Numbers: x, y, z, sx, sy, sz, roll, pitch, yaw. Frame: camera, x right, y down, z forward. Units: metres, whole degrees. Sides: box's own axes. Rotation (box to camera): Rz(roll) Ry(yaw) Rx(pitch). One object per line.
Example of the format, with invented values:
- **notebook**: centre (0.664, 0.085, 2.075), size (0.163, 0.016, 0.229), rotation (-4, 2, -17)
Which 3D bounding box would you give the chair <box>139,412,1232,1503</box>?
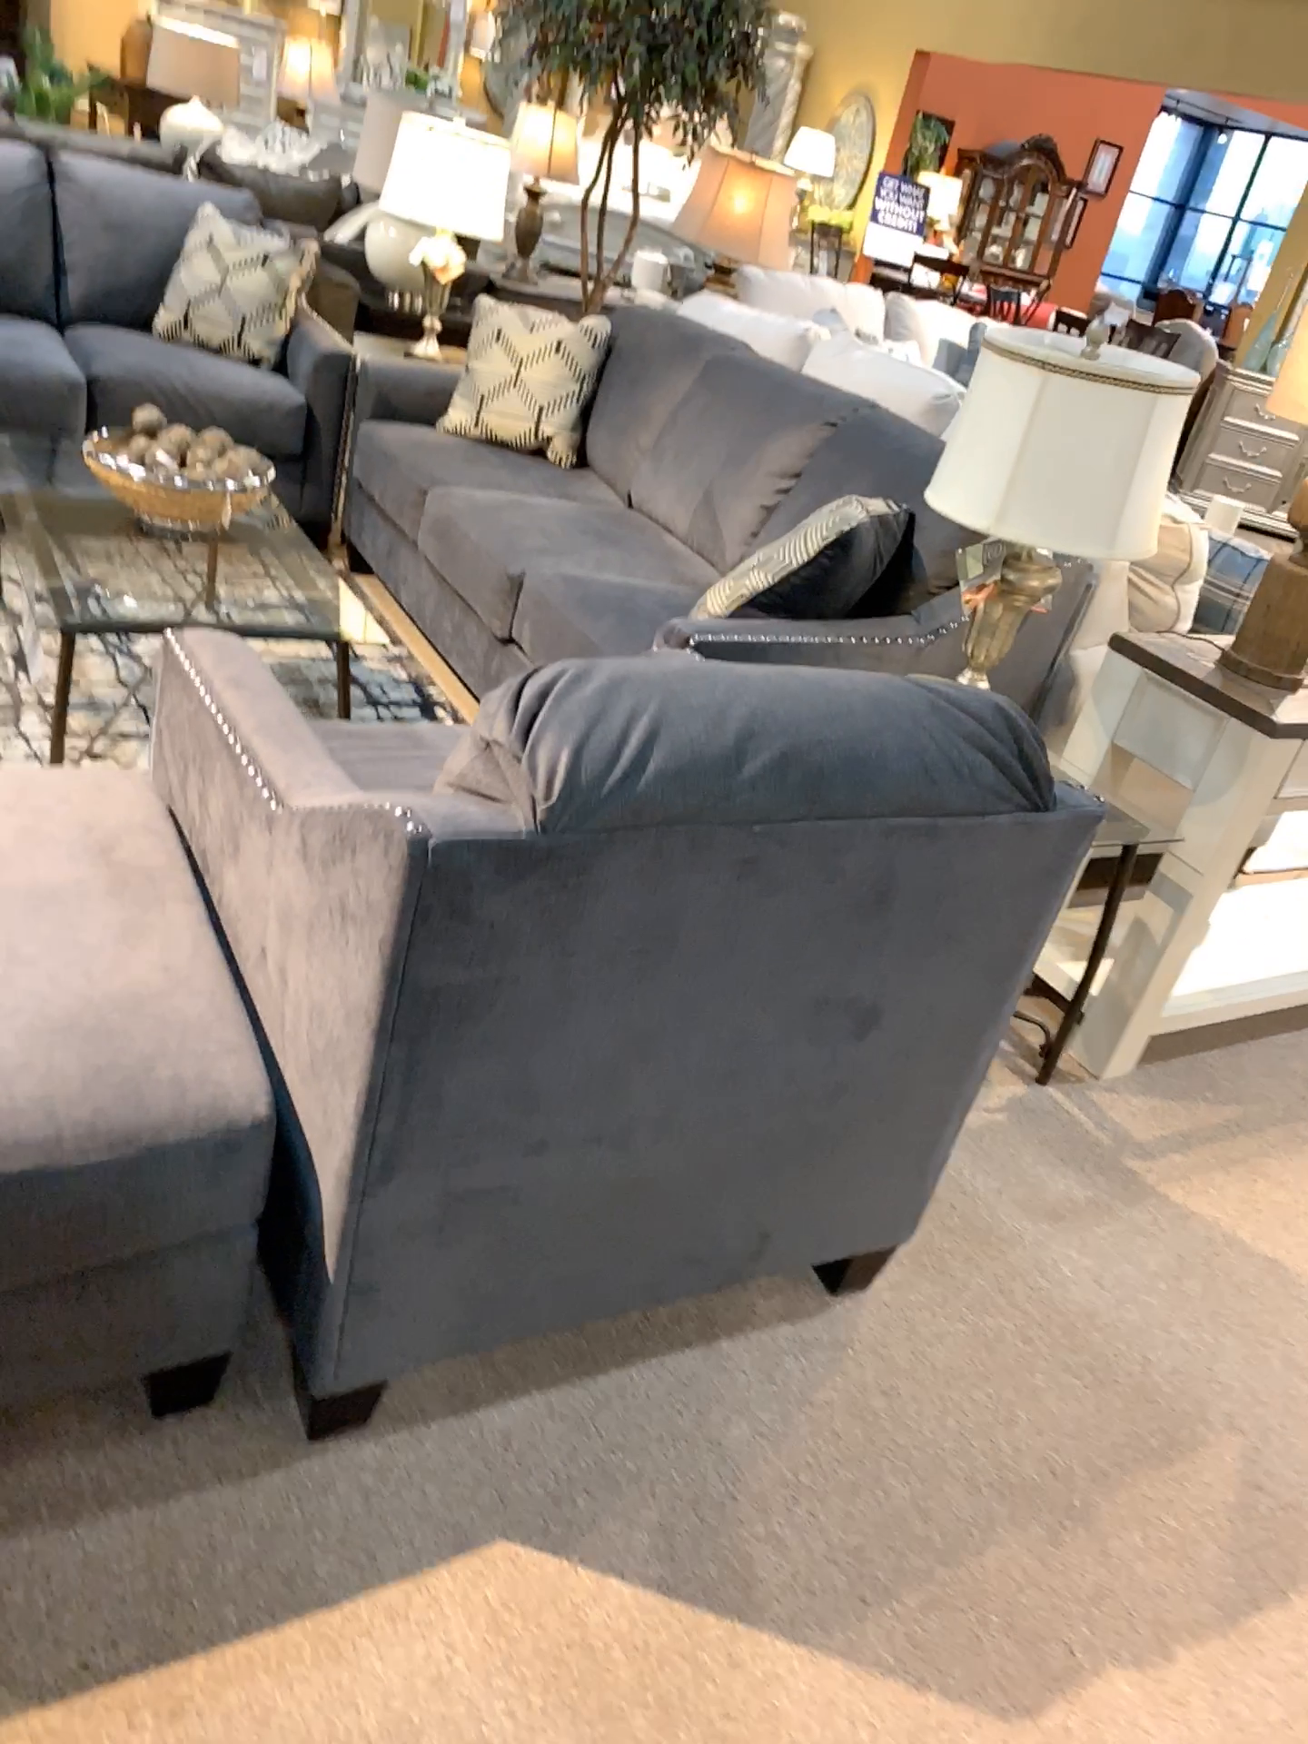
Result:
- **chair**: centre (-0.085, 0.008, 1.746), size (0.921, 0.840, 0.960), rotation (-4, 33, -31)
